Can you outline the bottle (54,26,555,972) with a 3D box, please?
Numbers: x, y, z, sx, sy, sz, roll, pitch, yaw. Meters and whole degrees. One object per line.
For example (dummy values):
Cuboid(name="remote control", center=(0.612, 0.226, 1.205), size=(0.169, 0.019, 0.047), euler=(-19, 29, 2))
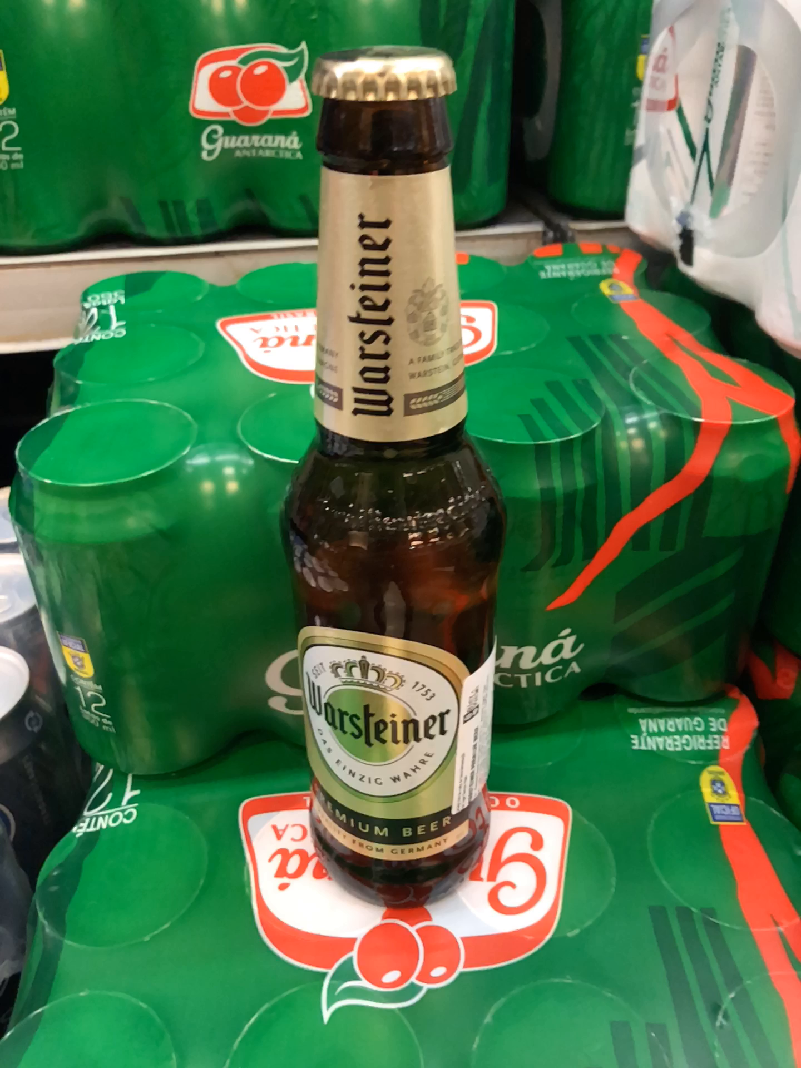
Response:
Cuboid(name="bottle", center=(-0.013, 0.007, 0.225), size=(0.070, 0.228, 0.060), euler=(12, 36, 19))
